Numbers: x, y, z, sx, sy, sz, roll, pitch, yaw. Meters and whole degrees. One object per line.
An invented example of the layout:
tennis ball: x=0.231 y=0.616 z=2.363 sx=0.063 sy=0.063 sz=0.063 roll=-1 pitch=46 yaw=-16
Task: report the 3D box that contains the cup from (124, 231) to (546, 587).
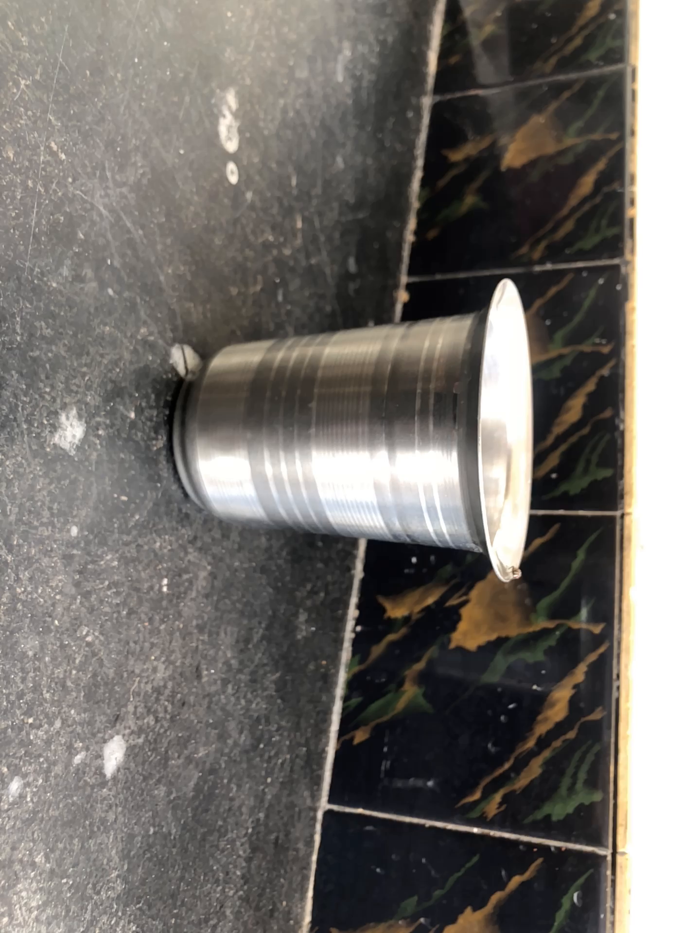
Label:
cup: x=0.002 y=-0.013 z=0.258 sx=0.091 sy=0.109 sz=0.090 roll=1 pitch=90 yaw=-70
